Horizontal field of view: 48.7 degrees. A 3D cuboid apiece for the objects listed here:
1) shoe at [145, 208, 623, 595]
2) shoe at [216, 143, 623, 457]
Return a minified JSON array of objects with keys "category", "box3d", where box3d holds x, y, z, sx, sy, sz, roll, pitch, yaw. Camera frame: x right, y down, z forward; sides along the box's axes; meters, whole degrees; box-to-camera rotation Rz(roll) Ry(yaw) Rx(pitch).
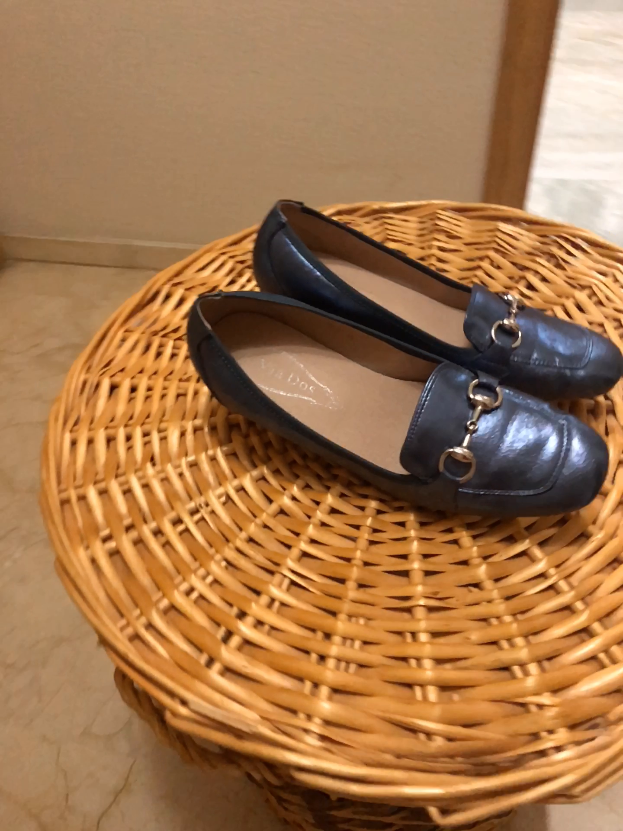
[{"category":"shoe","box3d":[0.040,-0.008,0.409,0.250,0.090,0.100,27,60,7]},{"category":"shoe","box3d":[0.074,-0.078,0.467,0.260,0.090,0.090,22,59,7]}]
